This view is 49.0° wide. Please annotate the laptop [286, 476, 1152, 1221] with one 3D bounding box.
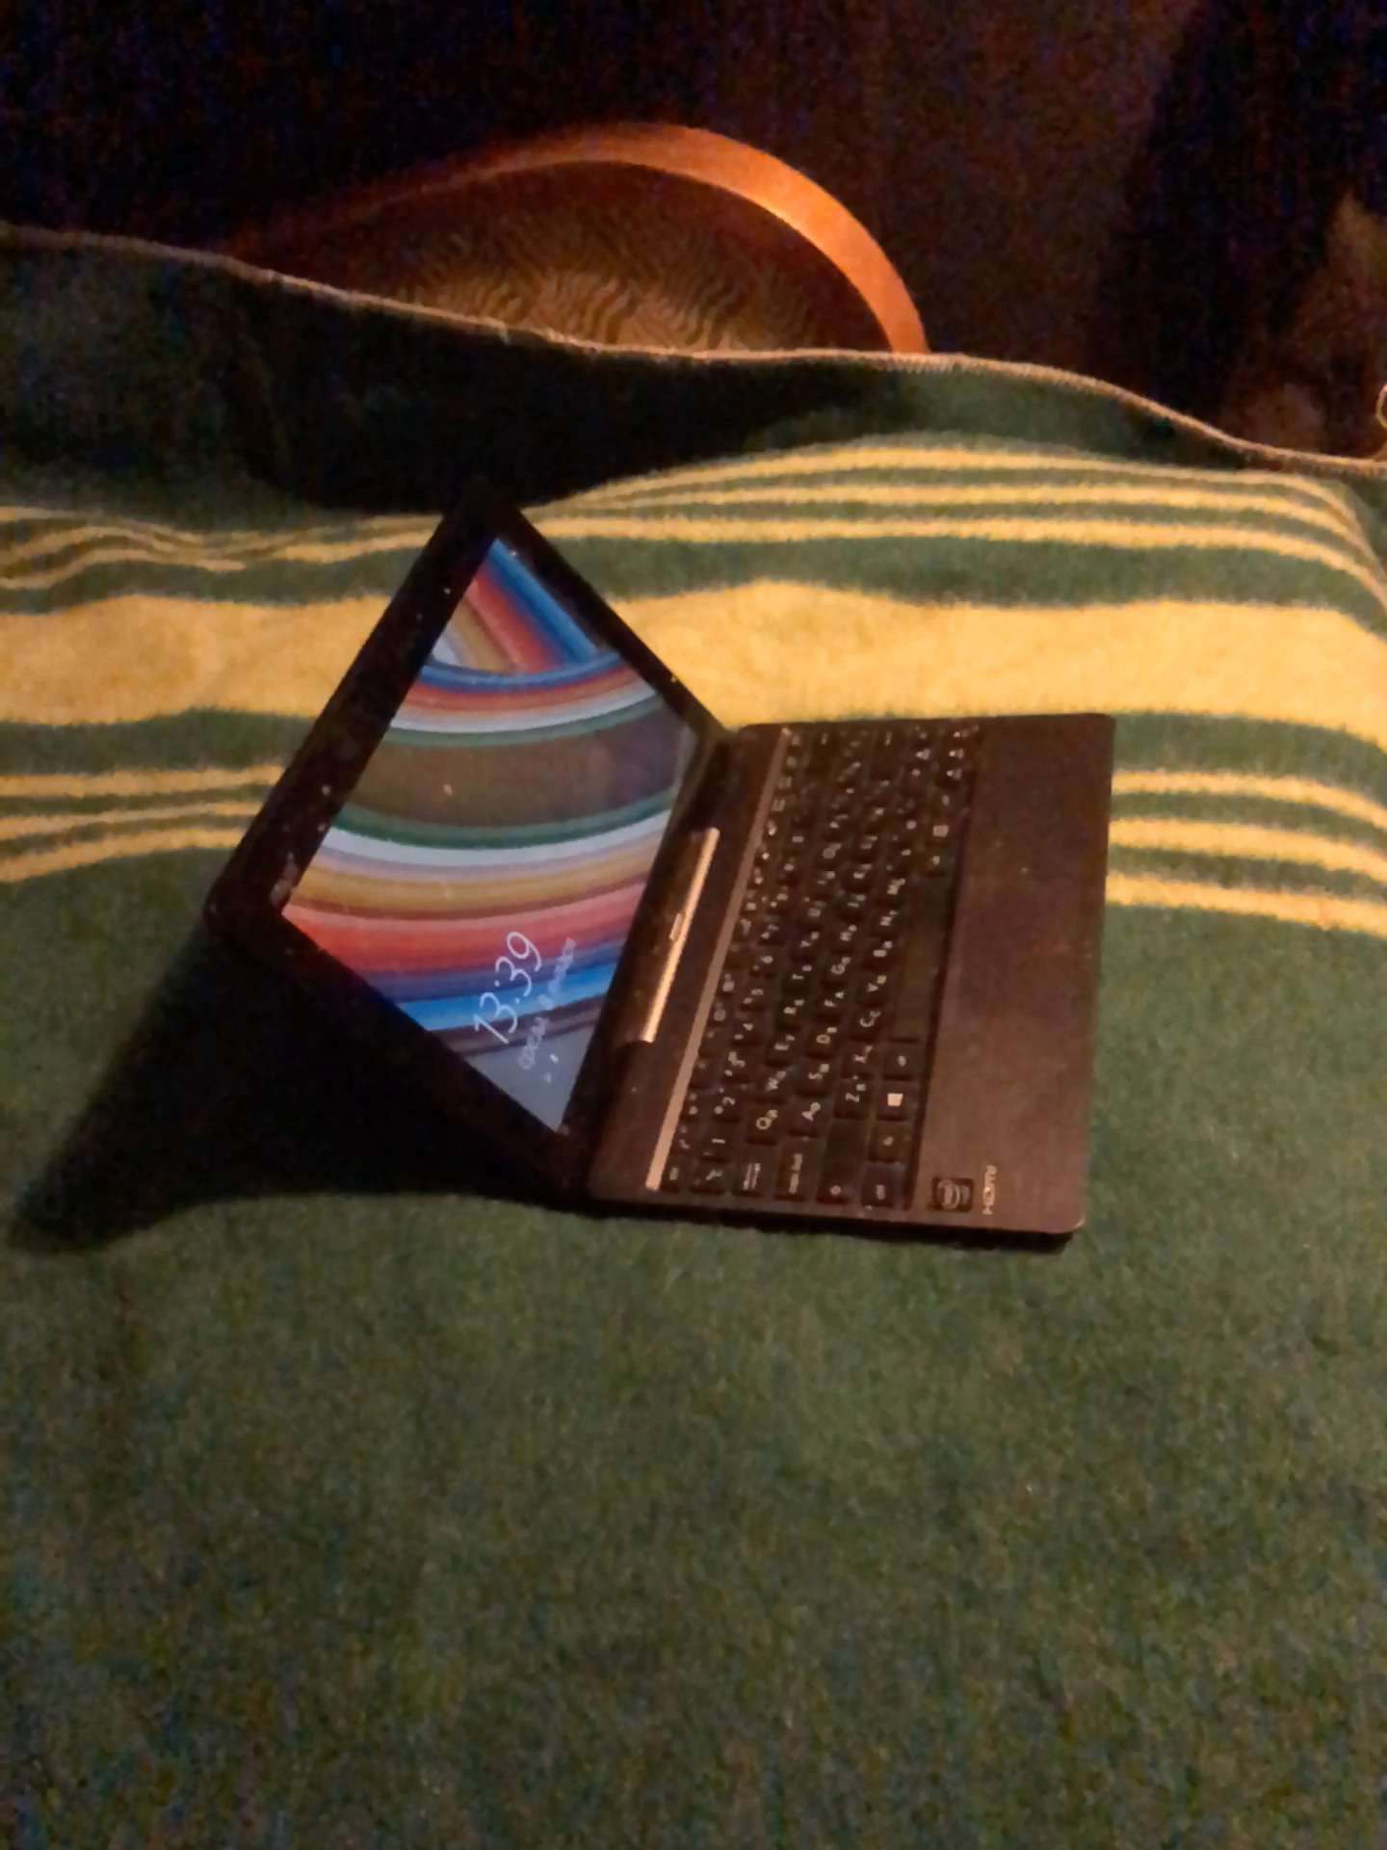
[{"bbox_3d":[0.025,-0.041,0.569,0.257,0.116,0.258,3,46,15],"label":"laptop"}]
